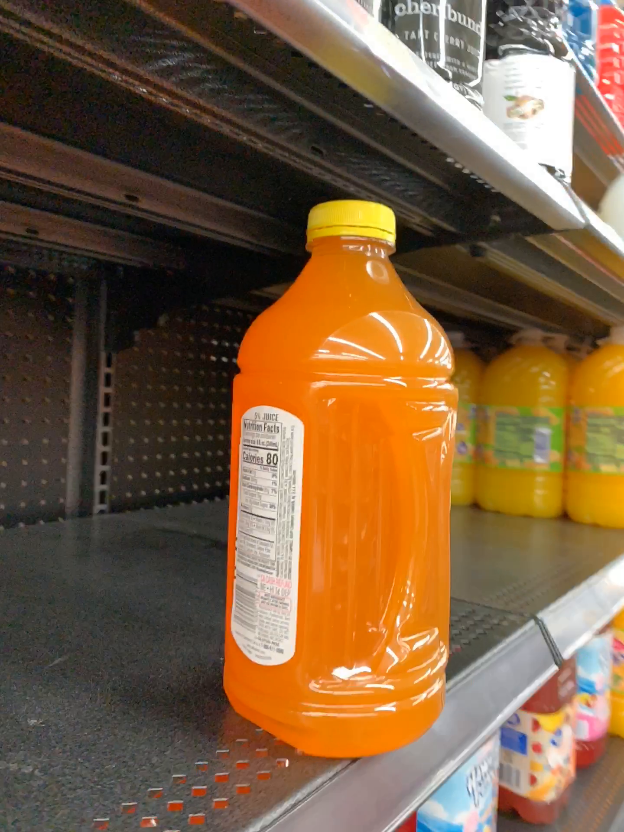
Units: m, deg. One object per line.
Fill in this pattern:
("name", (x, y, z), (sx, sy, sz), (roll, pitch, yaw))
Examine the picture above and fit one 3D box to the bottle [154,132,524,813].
("bottle", (0.015, 0.019, 0.335), (0.128, 0.260, 0.125), (3, 2, 0))
